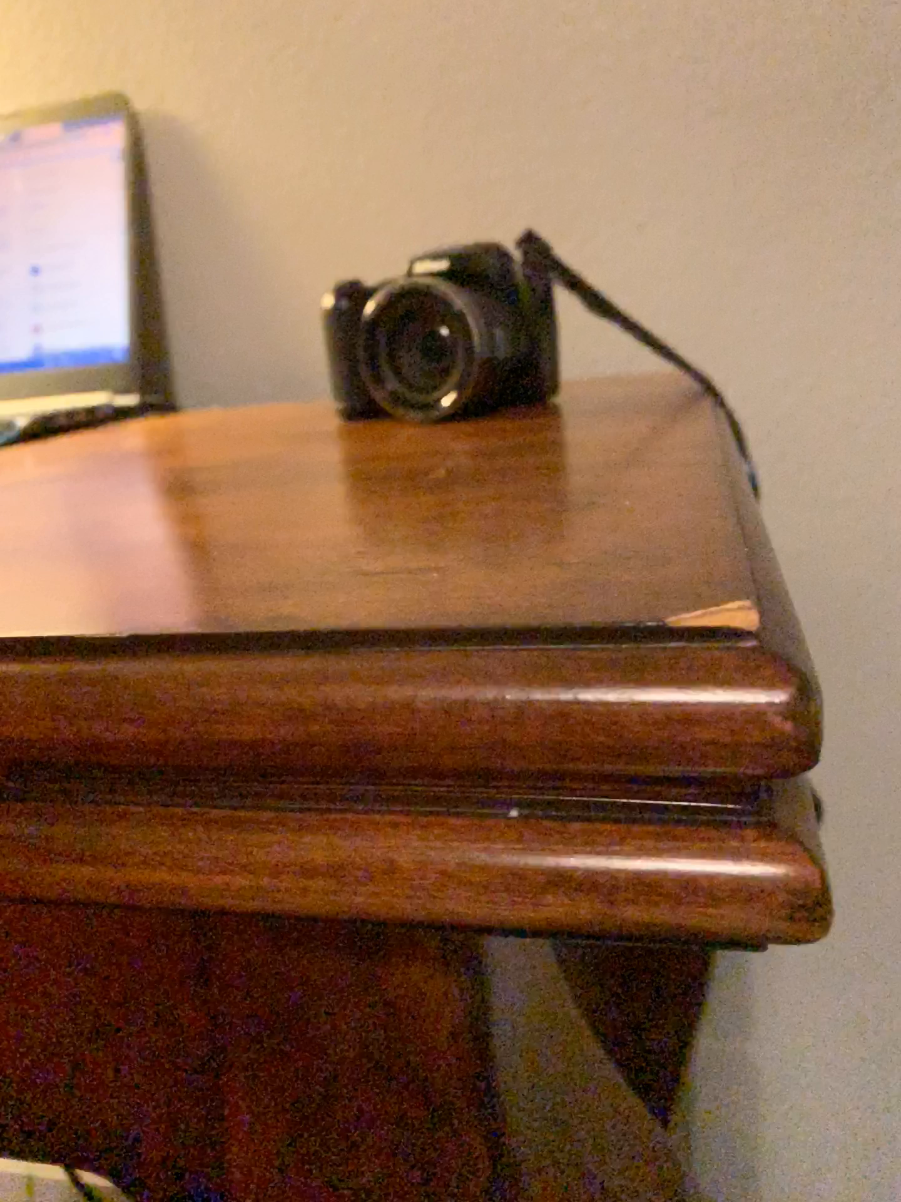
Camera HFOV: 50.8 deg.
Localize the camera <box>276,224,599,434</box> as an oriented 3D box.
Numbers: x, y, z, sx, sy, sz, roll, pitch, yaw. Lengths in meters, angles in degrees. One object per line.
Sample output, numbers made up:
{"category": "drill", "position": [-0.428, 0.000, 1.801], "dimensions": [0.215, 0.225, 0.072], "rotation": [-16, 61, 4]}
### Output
{"category": "camera", "position": [-0.001, -0.136, 0.483], "dimensions": [0.110, 0.081, 0.123], "rotation": [2, 17, 29]}
